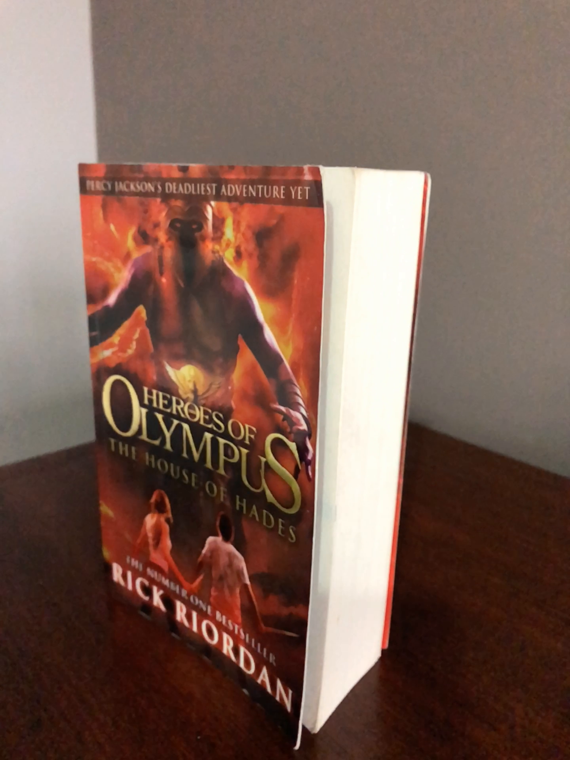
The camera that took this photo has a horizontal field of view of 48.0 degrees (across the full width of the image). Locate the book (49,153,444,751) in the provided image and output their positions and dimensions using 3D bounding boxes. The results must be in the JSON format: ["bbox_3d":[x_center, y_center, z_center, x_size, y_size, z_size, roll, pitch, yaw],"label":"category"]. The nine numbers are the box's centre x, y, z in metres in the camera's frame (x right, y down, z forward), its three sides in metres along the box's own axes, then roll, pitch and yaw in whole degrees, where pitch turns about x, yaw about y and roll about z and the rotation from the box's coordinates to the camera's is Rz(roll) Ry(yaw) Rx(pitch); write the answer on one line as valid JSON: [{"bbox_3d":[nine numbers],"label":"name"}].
[{"bbox_3d":[-0.022,0.014,0.261,0.140,0.199,0.060,16,22,38],"label":"book"}]
